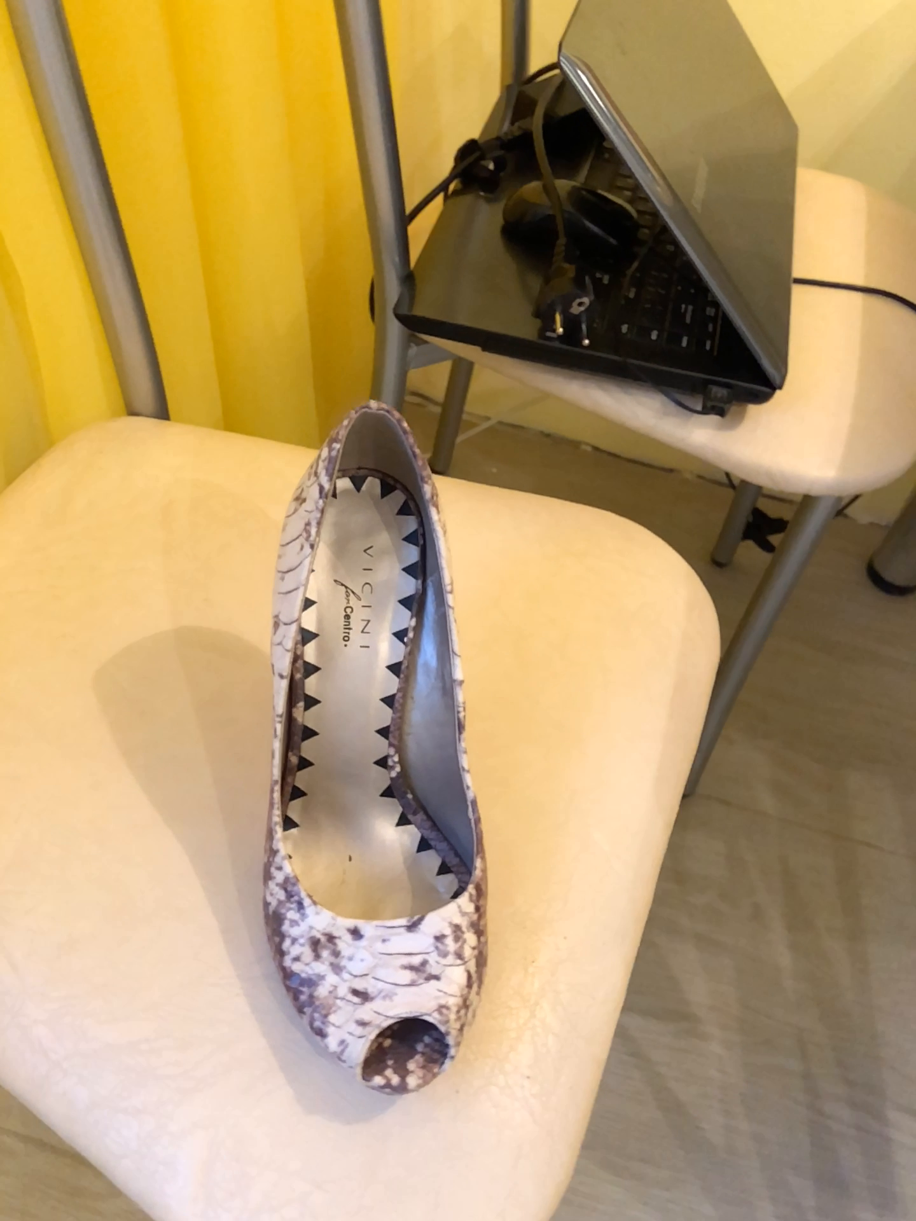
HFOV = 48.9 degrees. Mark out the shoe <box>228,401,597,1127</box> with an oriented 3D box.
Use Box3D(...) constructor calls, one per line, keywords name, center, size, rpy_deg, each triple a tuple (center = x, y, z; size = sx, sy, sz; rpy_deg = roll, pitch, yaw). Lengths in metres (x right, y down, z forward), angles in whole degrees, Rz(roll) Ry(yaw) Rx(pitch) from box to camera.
Box3D(name="shoe", center=(-0.030, 0.045, 0.345), size=(0.080, 0.129, 0.201), rpy_deg=(-4, 51, -11))
